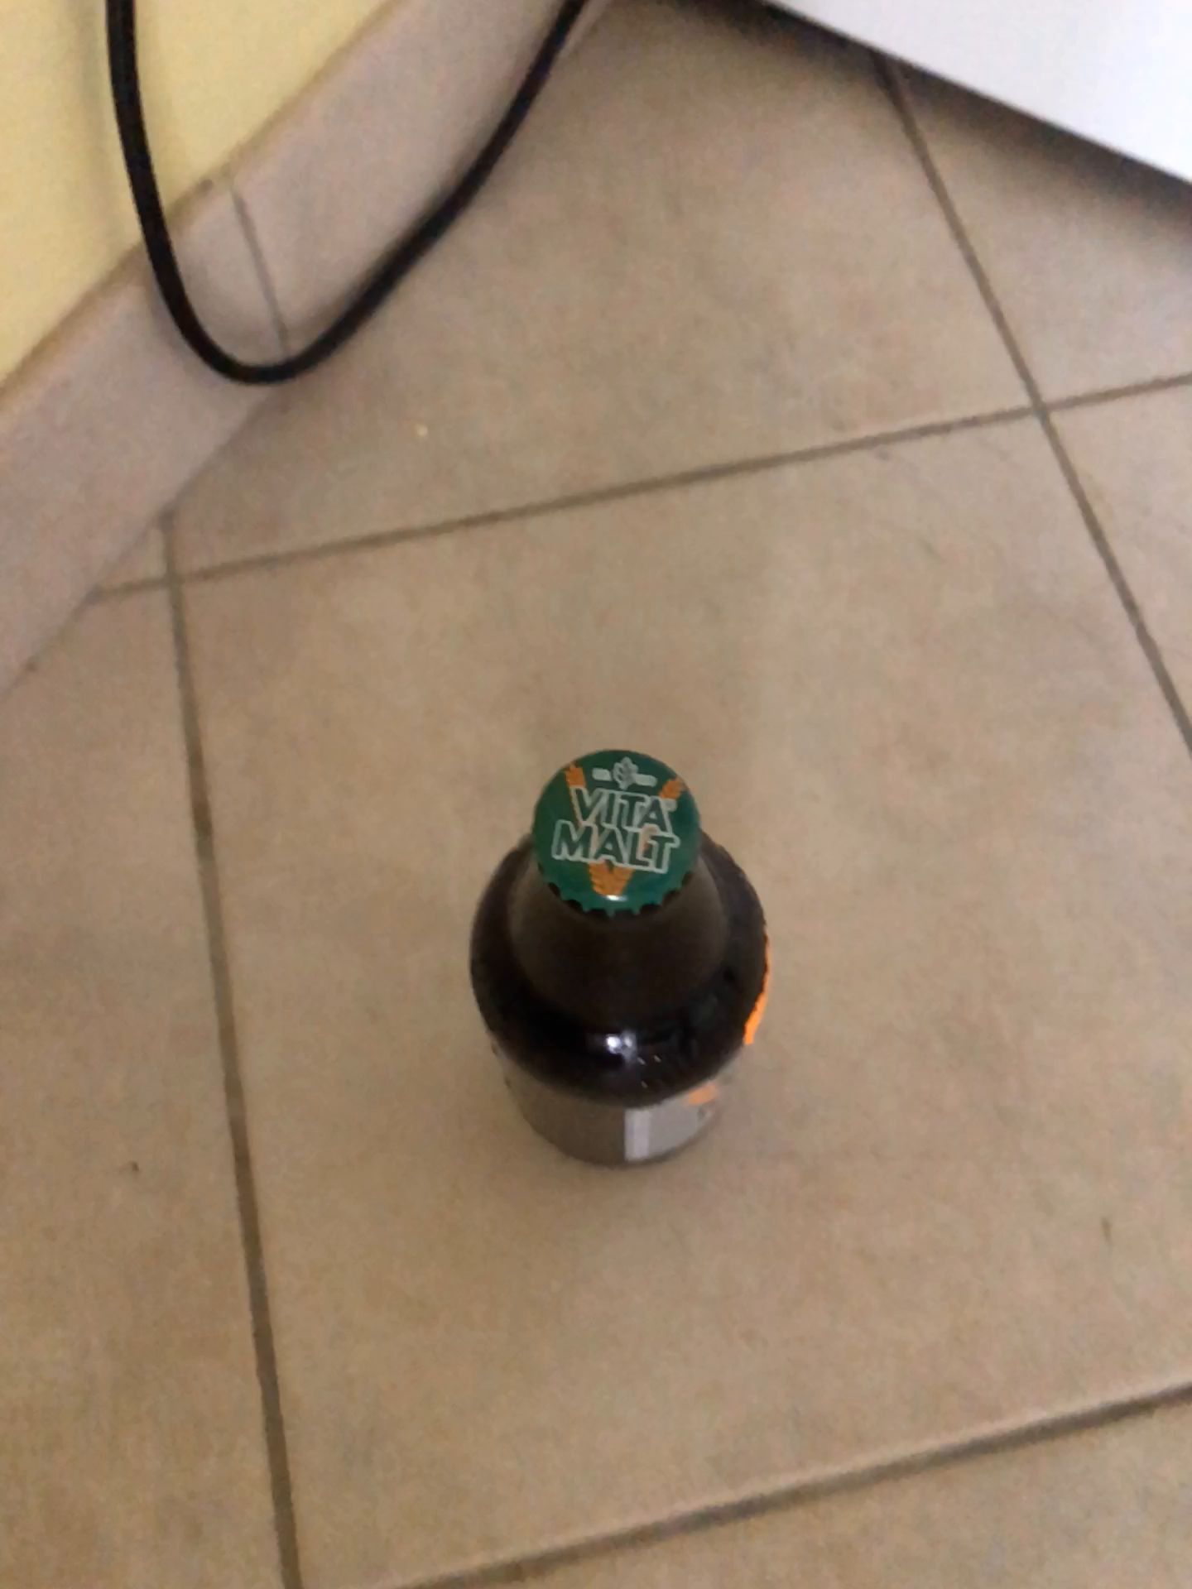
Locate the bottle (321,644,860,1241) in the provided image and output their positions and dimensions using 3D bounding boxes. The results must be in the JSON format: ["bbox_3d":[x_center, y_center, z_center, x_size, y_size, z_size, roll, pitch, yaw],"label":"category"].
[{"bbox_3d":[0.001,0.046,0.287,0.070,0.169,0.070,0,68,0],"label":"bottle"}]
